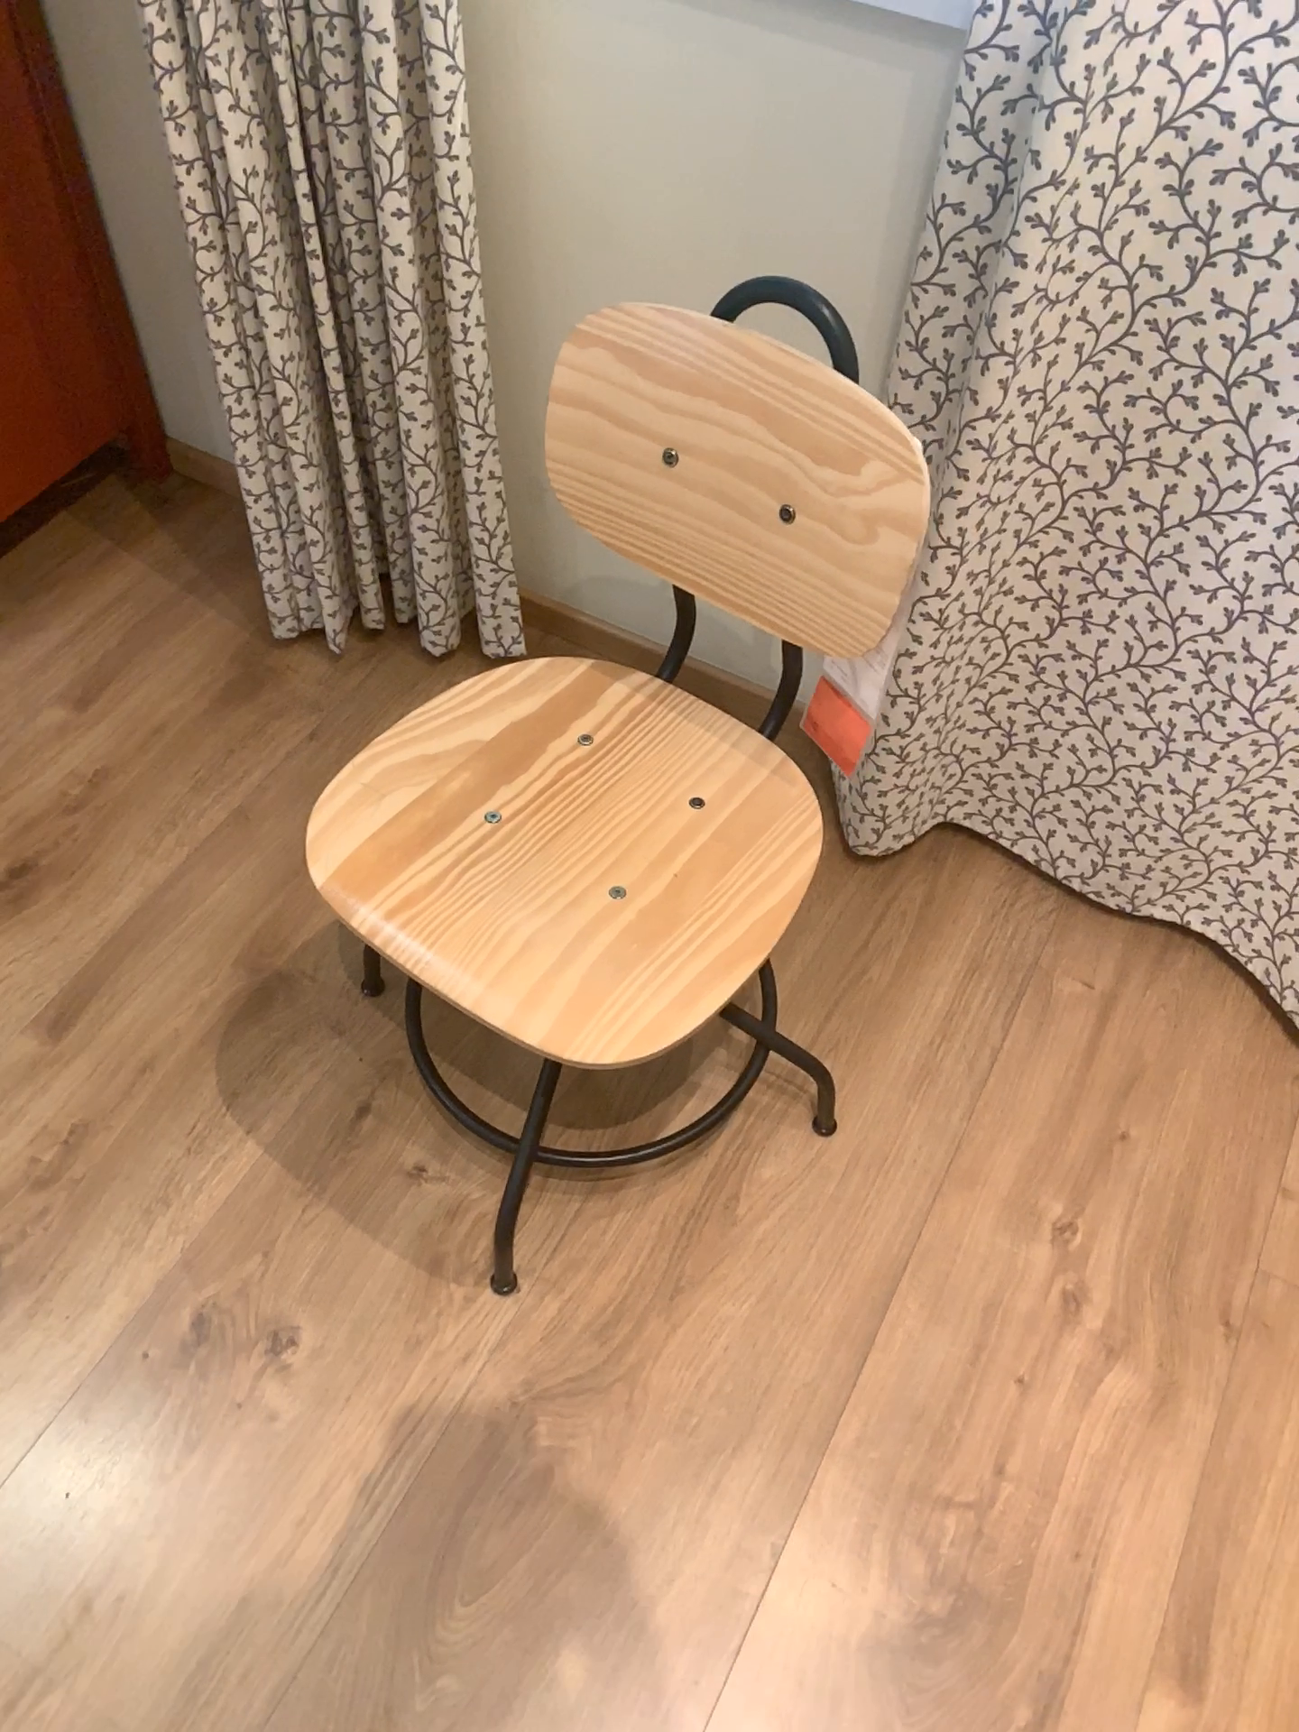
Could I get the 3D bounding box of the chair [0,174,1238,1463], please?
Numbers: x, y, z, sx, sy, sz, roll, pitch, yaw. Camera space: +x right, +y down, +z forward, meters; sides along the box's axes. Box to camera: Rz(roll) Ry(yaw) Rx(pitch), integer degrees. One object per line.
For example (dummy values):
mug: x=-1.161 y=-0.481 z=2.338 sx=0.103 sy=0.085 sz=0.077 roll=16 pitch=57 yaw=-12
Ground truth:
chair: x=-0.027 y=-0.035 z=1.086 sx=0.561 sy=0.648 sz=0.621 roll=32 pitch=58 yaw=19
